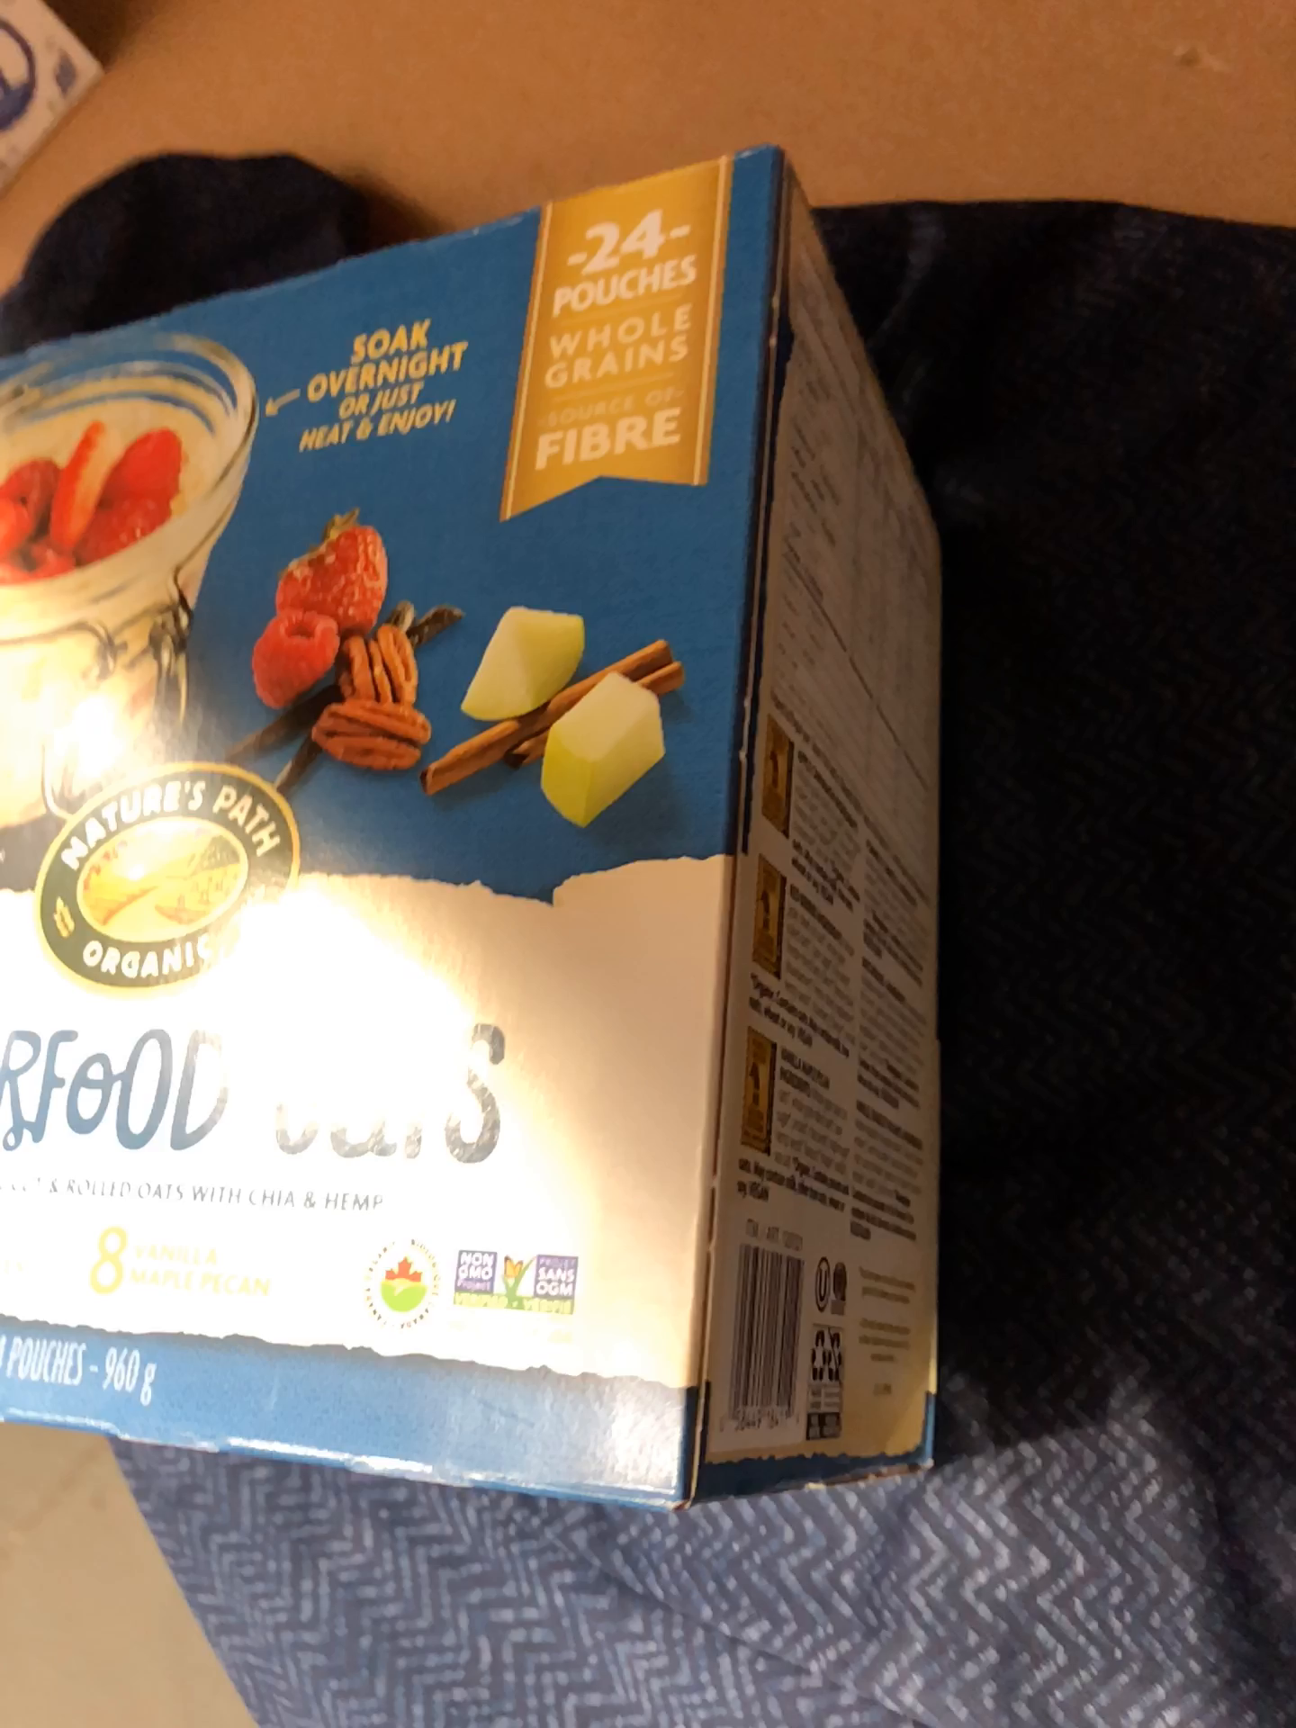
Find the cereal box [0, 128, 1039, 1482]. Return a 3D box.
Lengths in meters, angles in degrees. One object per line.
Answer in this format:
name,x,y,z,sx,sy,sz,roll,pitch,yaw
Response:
cereal box,-0.045,0.004,0.353,0.250,0.150,0.240,-3,69,24
